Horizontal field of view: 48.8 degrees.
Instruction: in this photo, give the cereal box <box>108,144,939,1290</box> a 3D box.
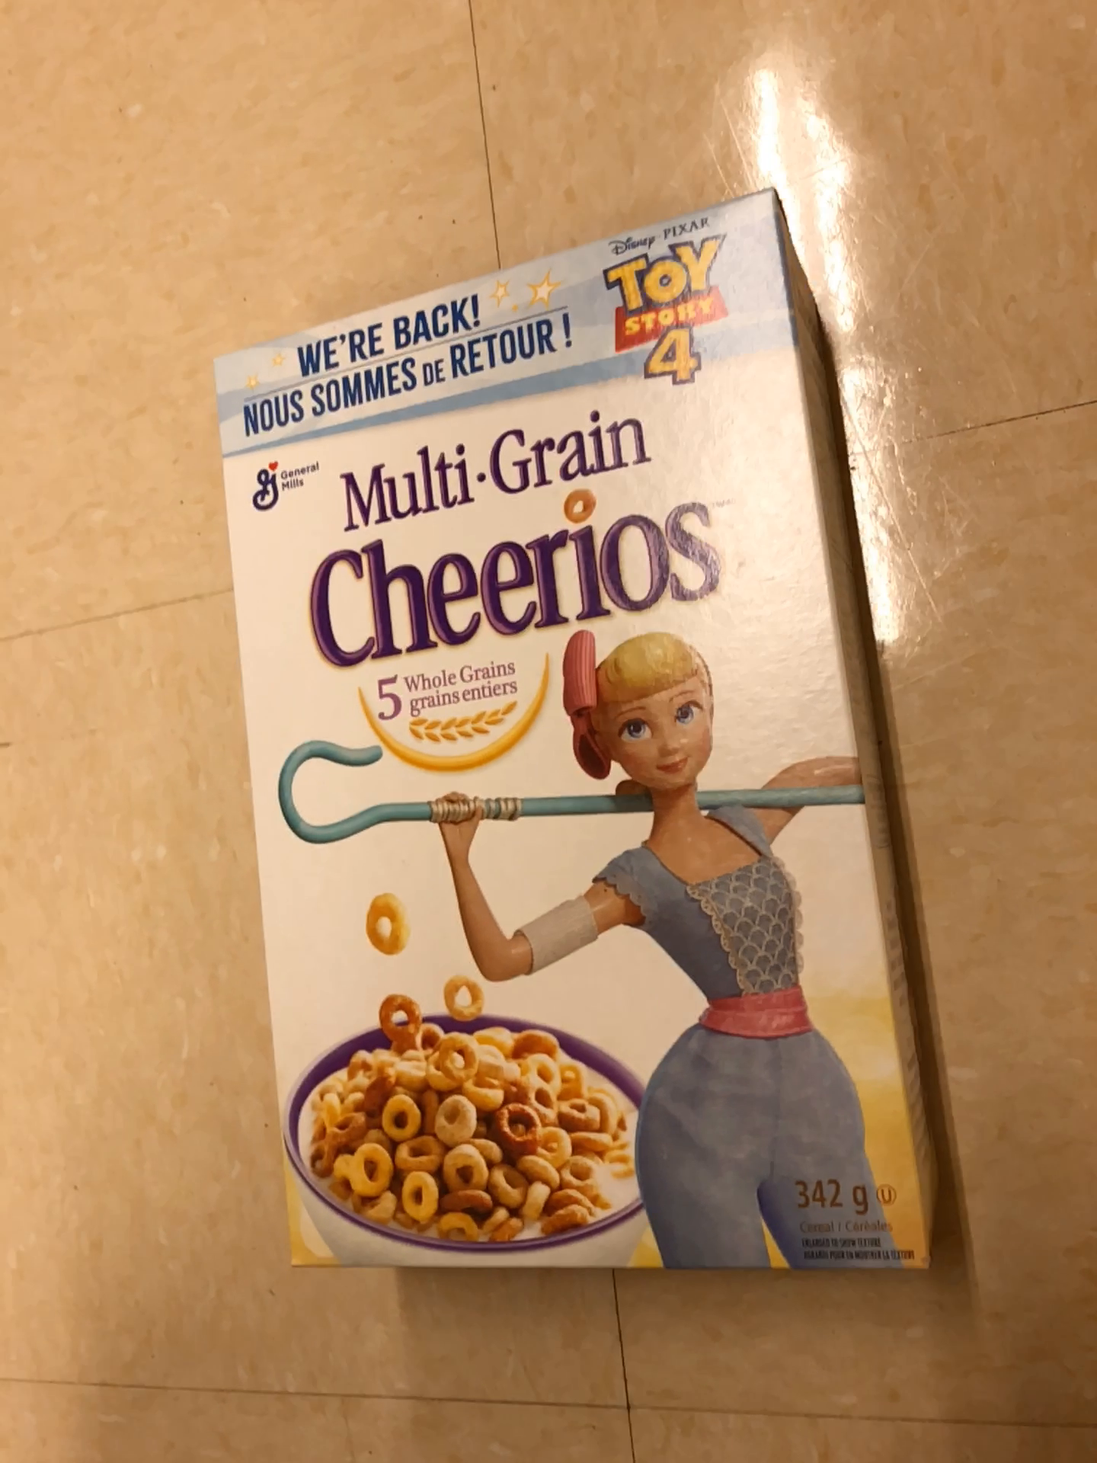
[{"bbox_3d":[-0.015,0.007,0.370,0.210,0.070,0.290,-10,83,20],"label":"cereal box"}]
